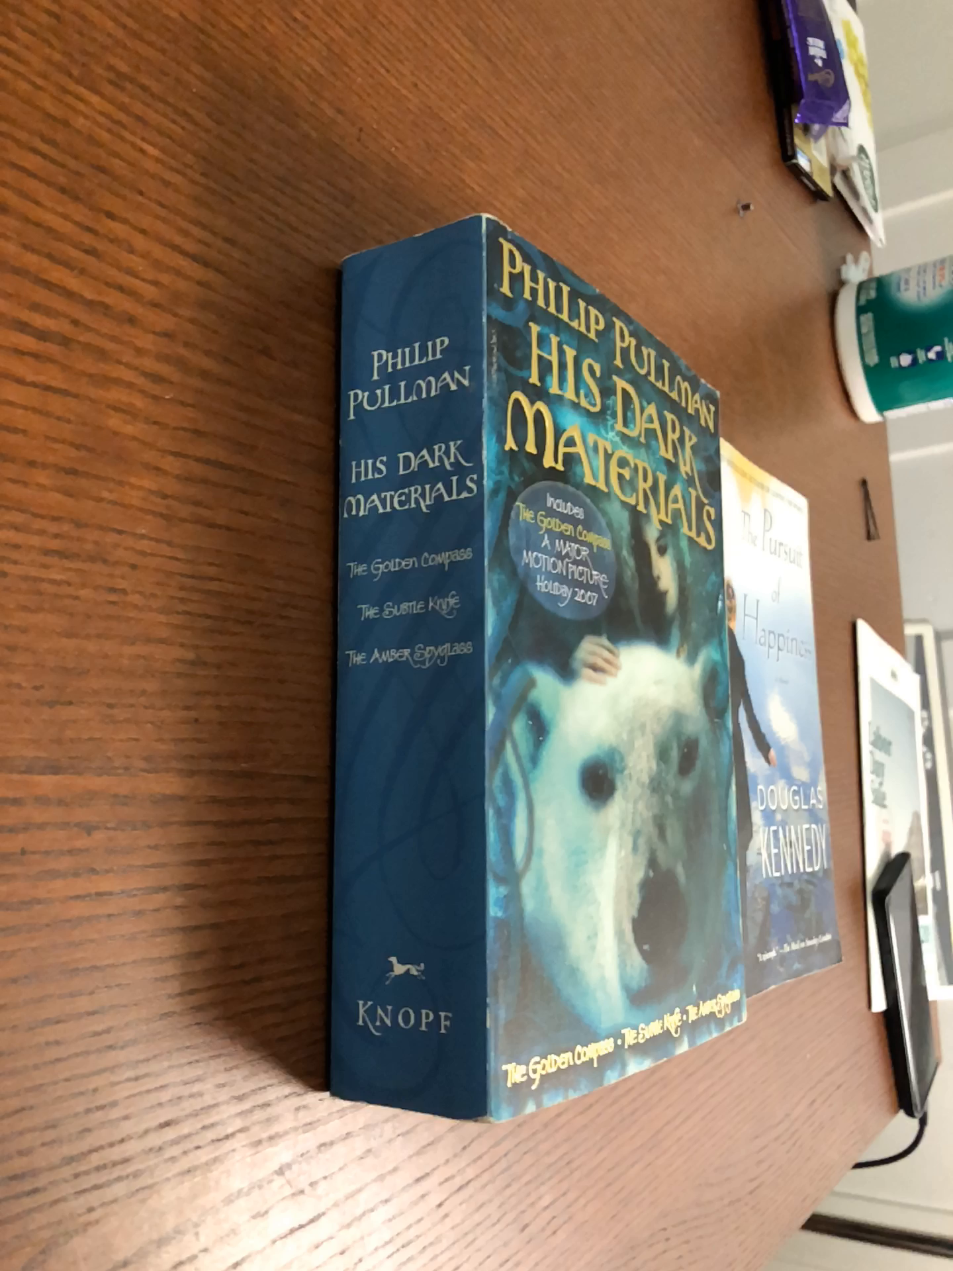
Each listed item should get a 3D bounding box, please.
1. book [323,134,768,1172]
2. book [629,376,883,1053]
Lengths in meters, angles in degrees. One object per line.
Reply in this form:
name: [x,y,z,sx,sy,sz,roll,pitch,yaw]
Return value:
book: [0.032,0.008,0.340,0.181,0.050,0.250,13,73,-55]
book: [0.131,0.036,0.475,0.181,0.040,0.250,13,73,-55]
